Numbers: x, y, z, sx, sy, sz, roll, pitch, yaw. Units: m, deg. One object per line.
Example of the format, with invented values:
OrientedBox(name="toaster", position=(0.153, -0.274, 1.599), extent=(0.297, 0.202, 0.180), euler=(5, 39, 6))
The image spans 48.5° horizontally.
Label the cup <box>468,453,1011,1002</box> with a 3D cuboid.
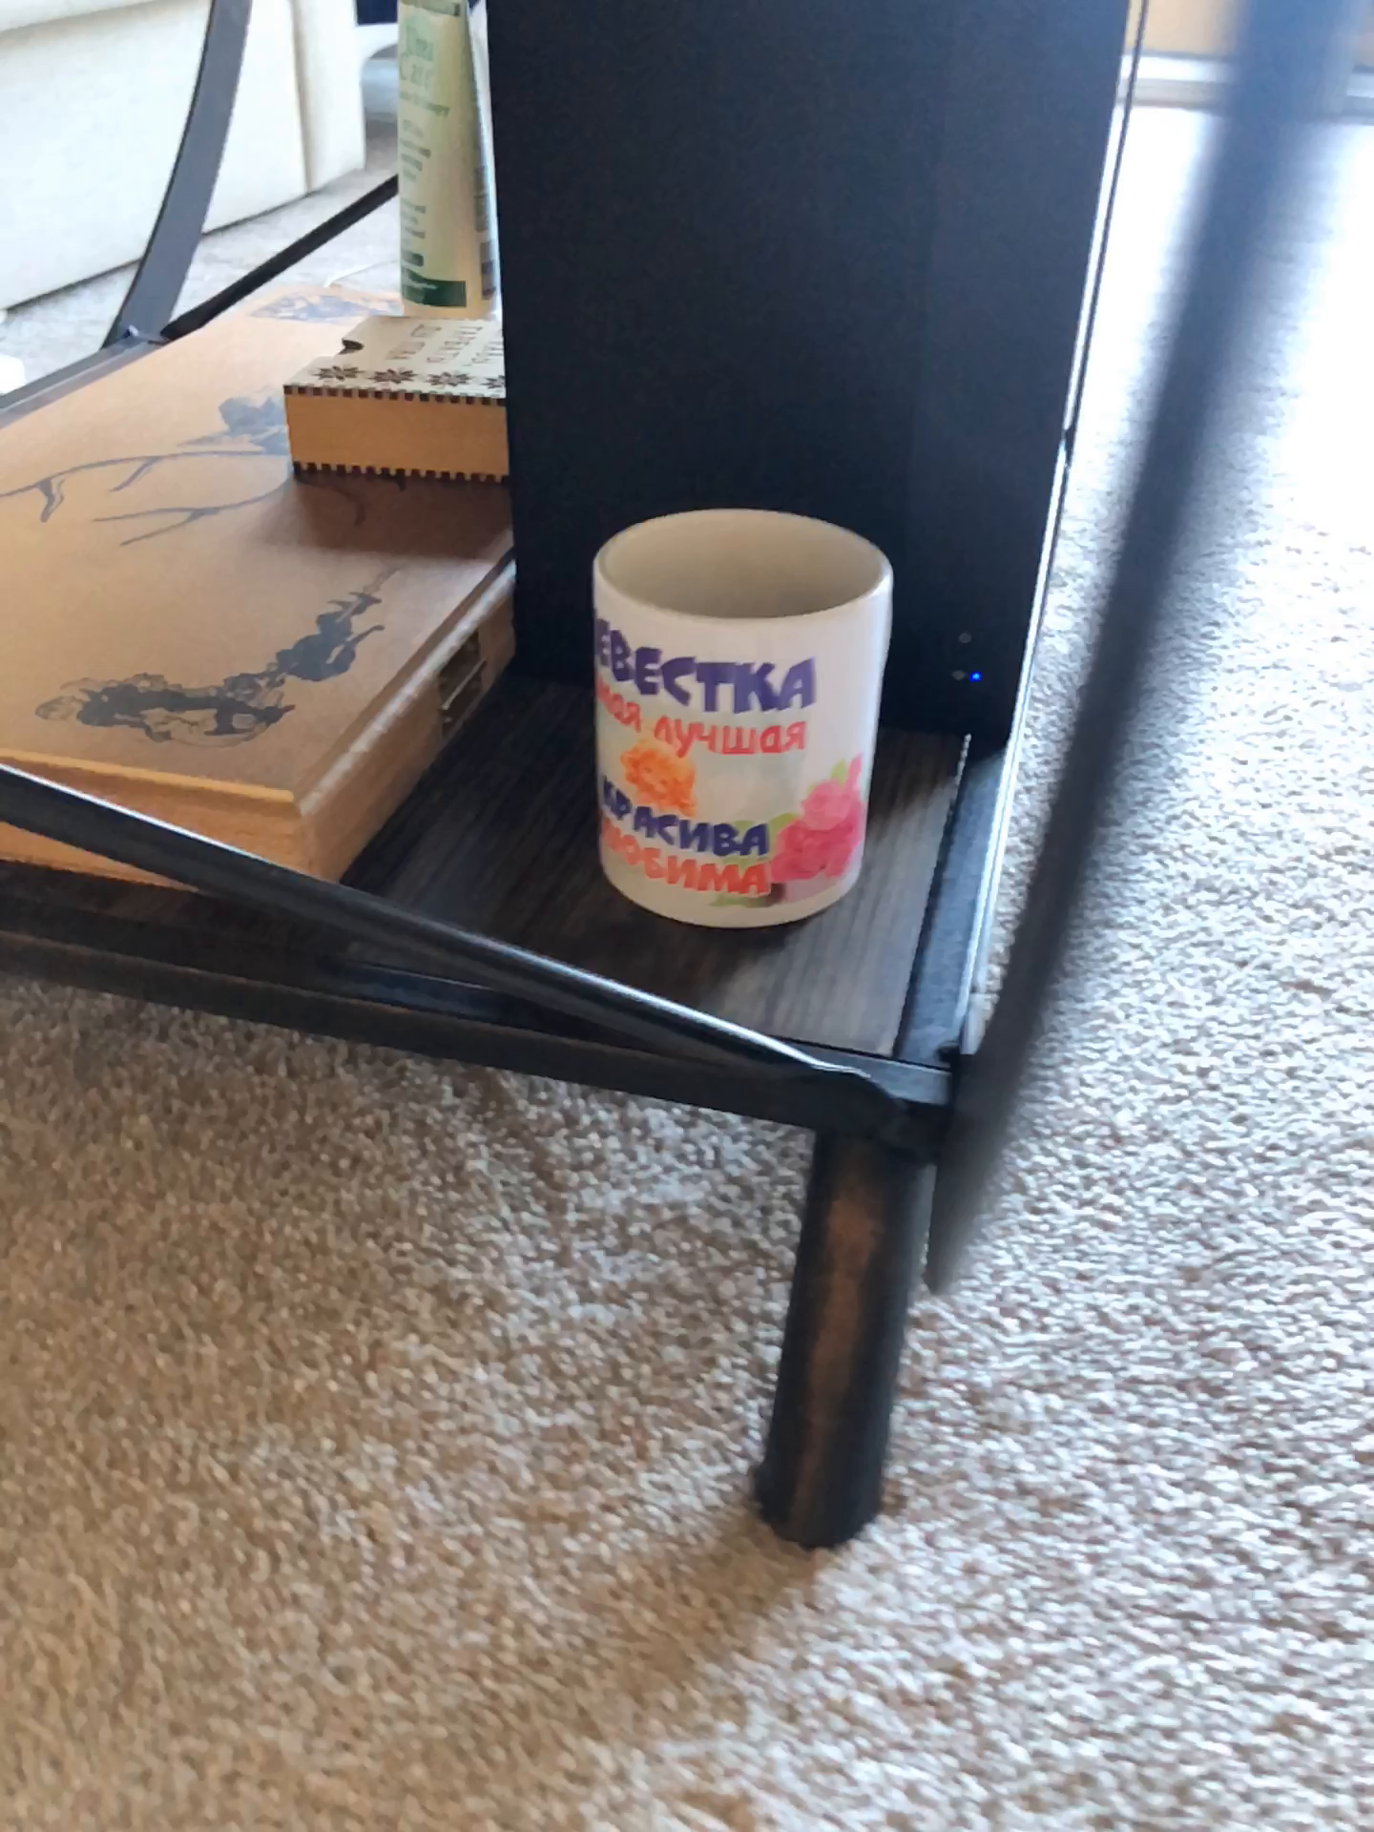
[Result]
OrientedBox(name="cup", position=(0.018, -0.065, 0.463), extent=(0.090, 0.100, 0.140), euler=(24, 40, 29))
